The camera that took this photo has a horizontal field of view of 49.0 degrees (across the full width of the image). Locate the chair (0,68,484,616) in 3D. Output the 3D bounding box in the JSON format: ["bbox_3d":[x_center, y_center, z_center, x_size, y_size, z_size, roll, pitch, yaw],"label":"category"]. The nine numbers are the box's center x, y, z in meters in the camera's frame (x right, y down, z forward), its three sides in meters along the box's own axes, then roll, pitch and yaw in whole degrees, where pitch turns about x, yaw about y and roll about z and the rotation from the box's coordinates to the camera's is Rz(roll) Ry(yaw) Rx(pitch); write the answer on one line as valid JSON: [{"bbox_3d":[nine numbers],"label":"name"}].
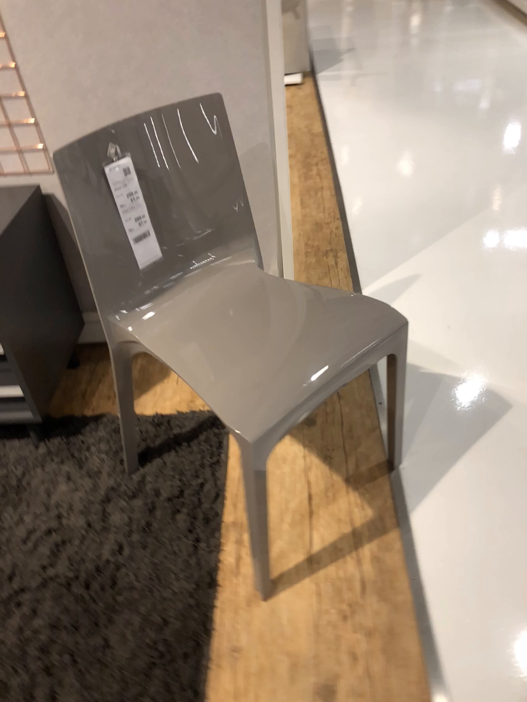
[{"bbox_3d":[-0.030,-0.038,1.134,0.522,0.754,0.563,-32,47,-27],"label":"chair"}]
